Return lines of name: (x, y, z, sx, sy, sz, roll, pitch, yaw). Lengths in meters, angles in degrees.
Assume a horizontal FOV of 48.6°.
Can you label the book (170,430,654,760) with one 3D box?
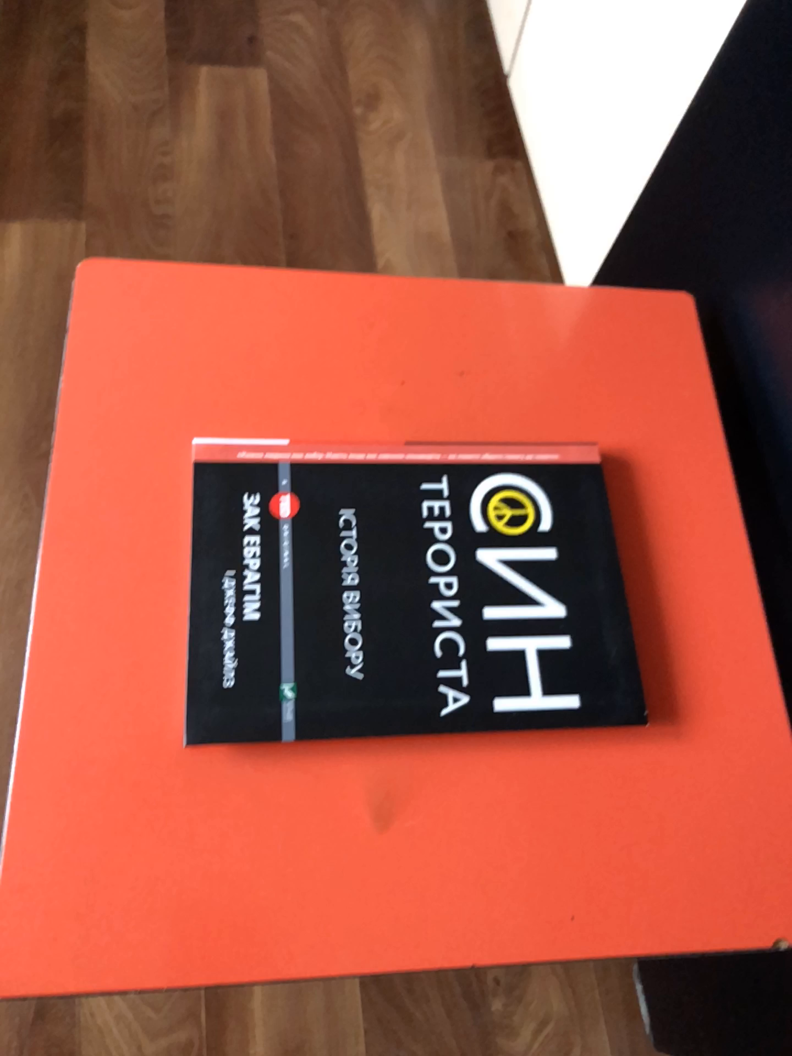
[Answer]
book: (0.006, 0.026, 0.403, 0.205, 0.013, 0.150, 0, 66, -9)
